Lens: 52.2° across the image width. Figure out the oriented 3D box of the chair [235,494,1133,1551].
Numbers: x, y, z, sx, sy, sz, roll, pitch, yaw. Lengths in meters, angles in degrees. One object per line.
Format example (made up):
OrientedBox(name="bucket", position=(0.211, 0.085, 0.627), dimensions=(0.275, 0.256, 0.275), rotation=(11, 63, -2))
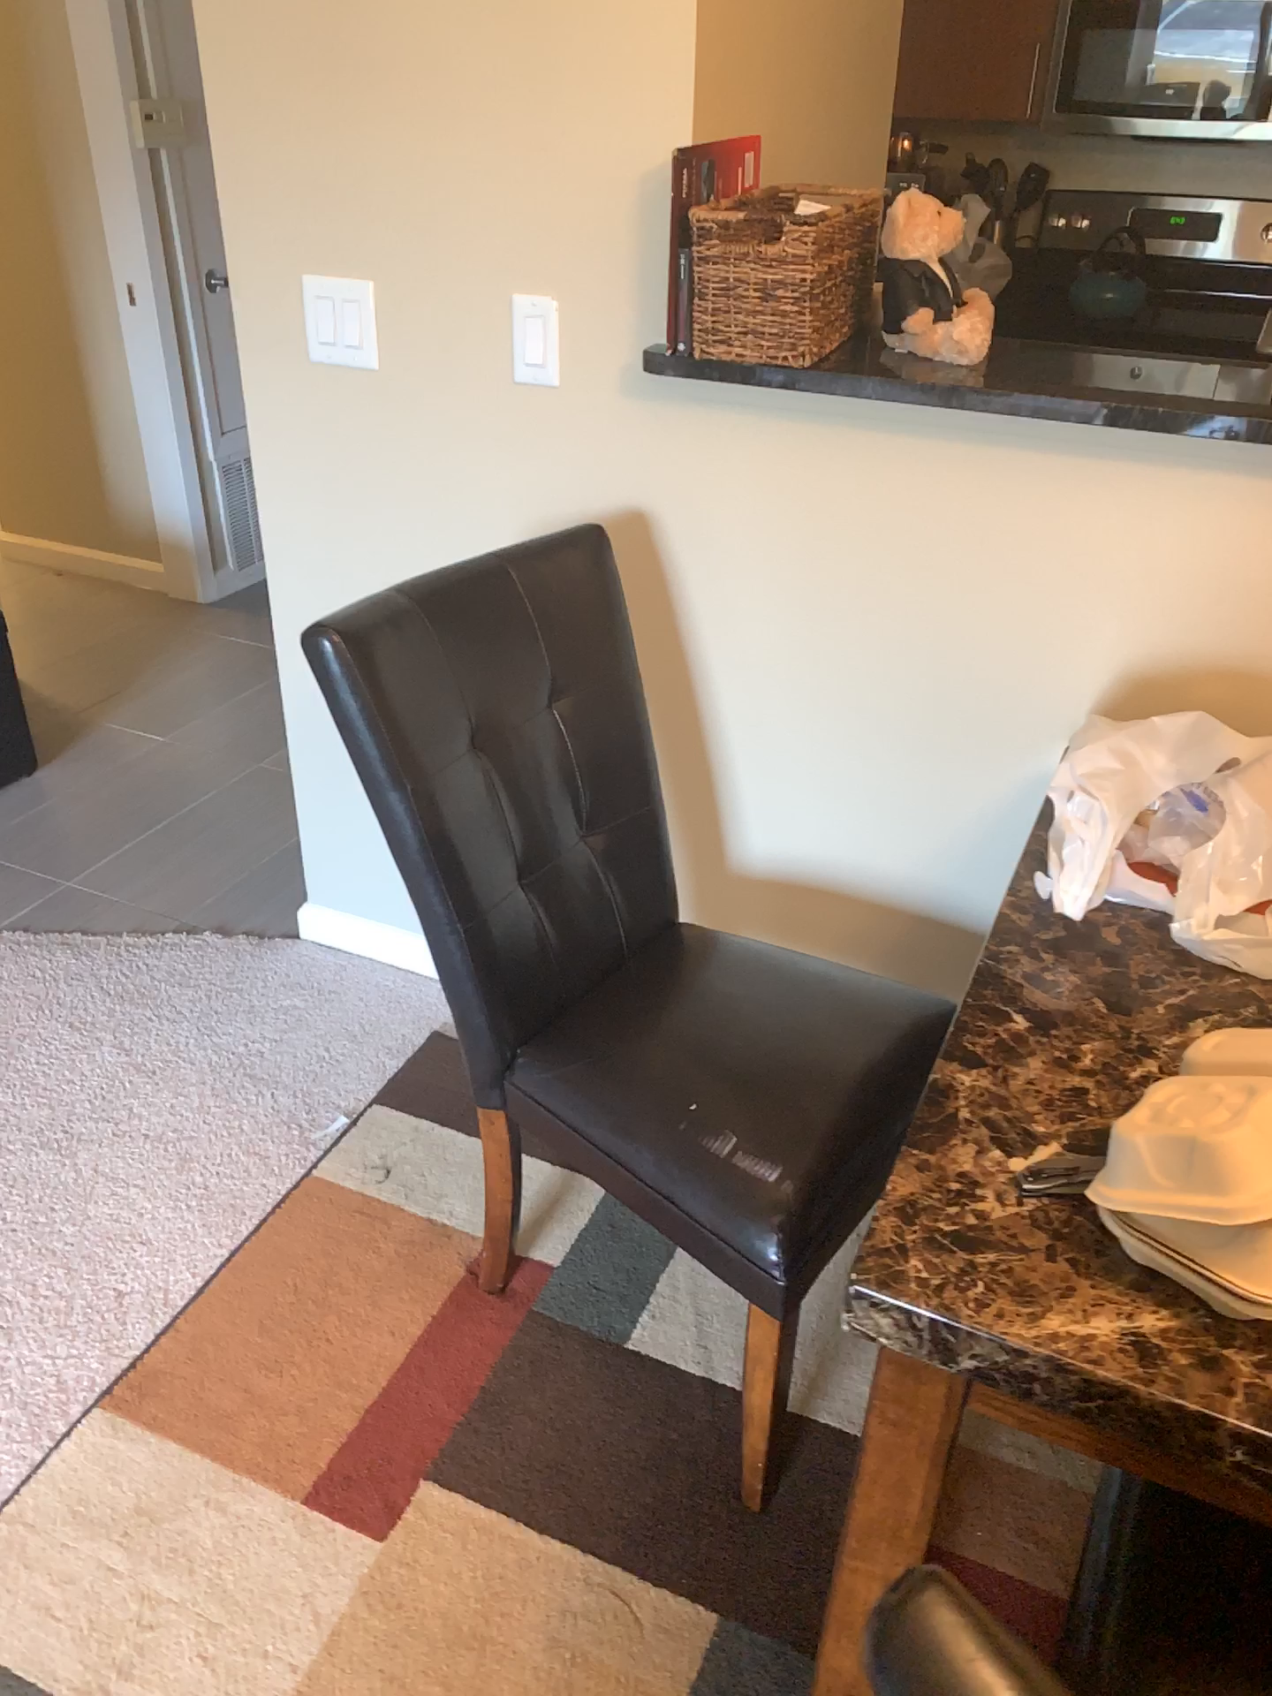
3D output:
OrientedBox(name="chair", position=(0.091, 0.140, 1.737), dimensions=(0.732, 0.925, 0.813), rotation=(19, 35, 27))
